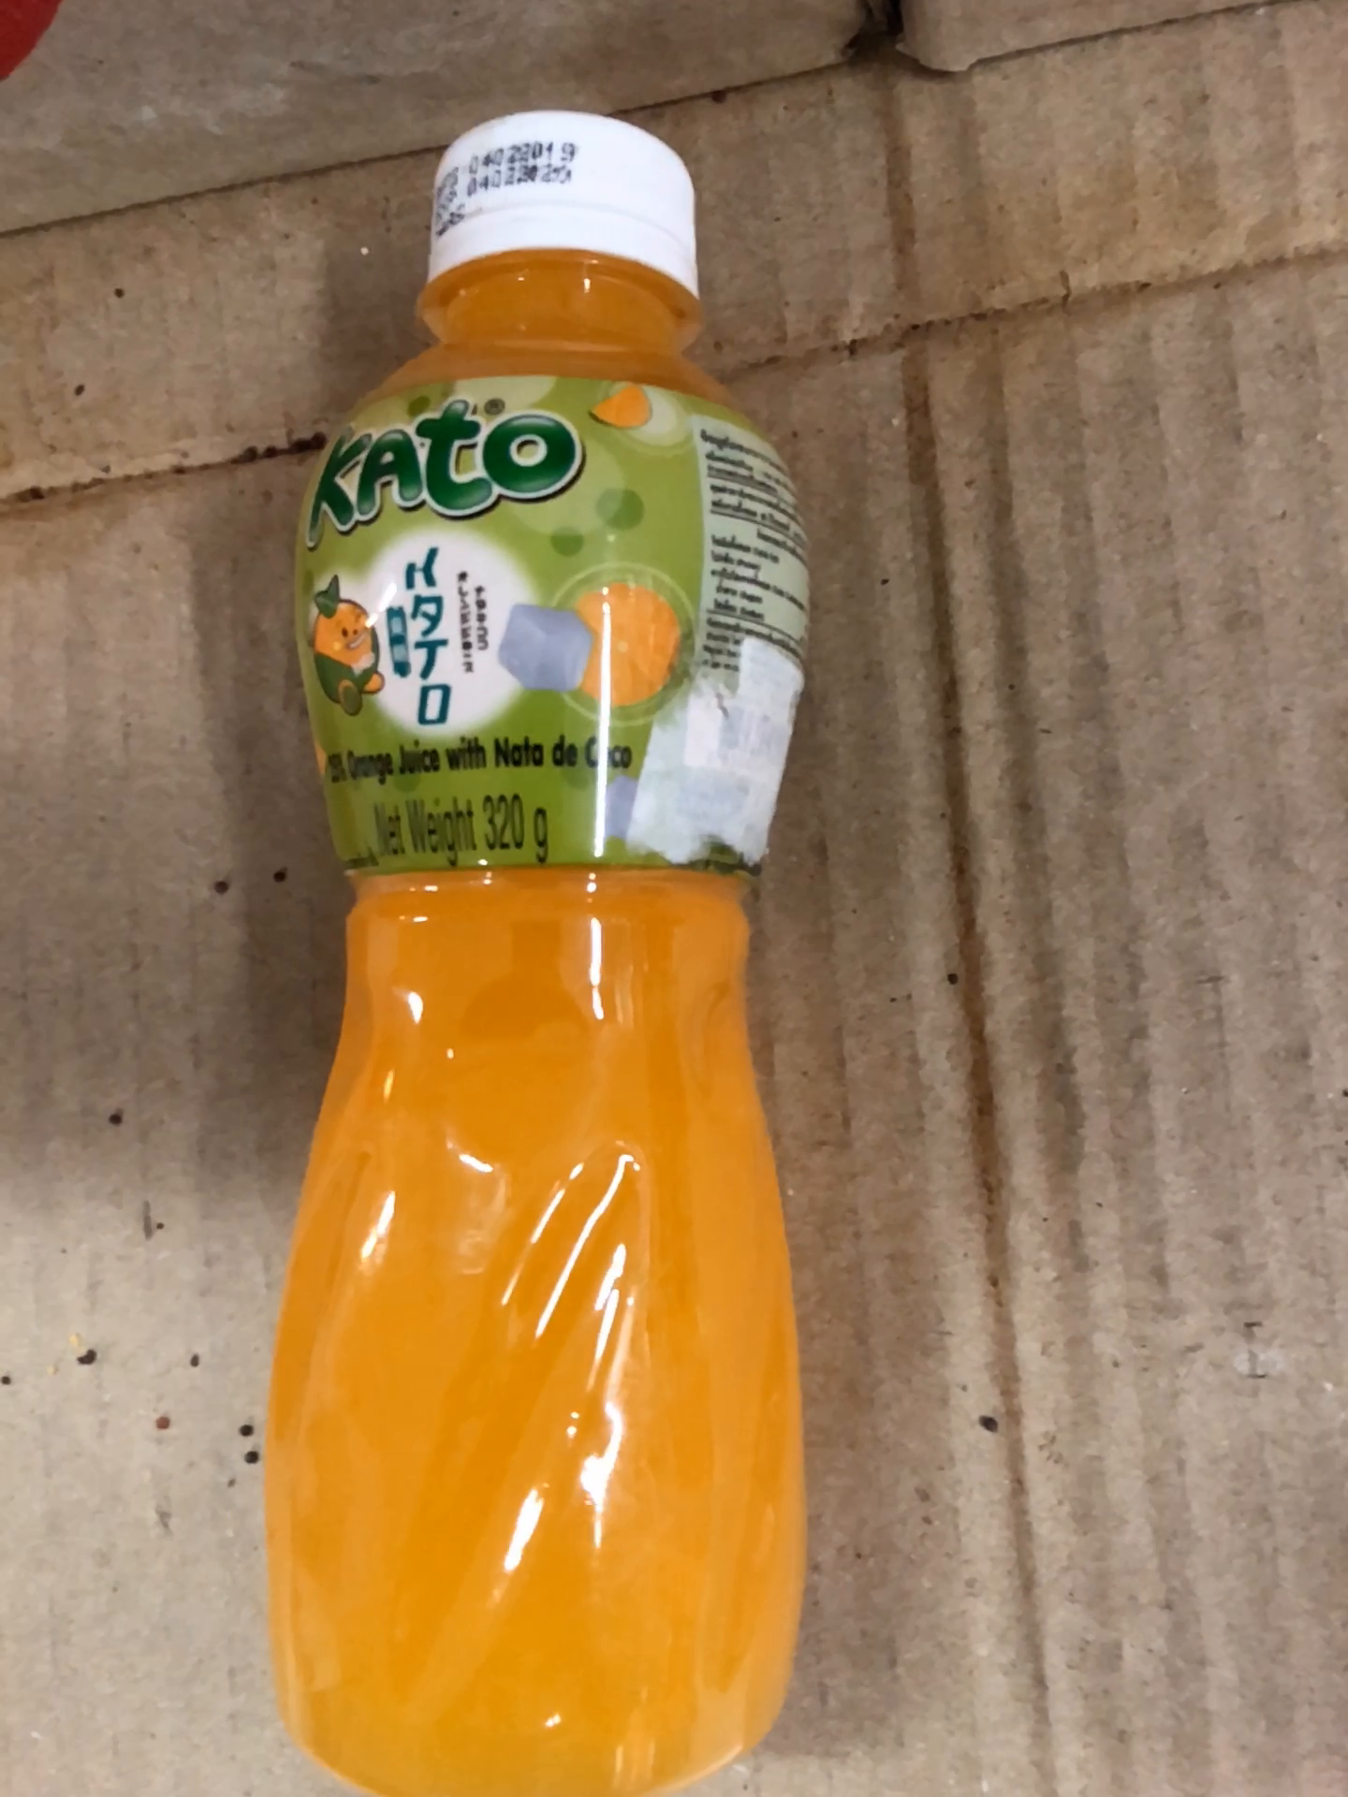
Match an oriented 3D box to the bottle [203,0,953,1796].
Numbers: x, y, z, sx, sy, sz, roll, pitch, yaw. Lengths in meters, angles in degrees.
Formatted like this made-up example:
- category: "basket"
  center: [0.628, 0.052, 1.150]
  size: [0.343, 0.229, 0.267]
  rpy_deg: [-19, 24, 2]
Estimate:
- category: "bottle"
  center: [-0.005, -0.002, 0.177]
  size: [0.070, 0.060, 0.190]
  rpy_deg: [0, 87, 15]
